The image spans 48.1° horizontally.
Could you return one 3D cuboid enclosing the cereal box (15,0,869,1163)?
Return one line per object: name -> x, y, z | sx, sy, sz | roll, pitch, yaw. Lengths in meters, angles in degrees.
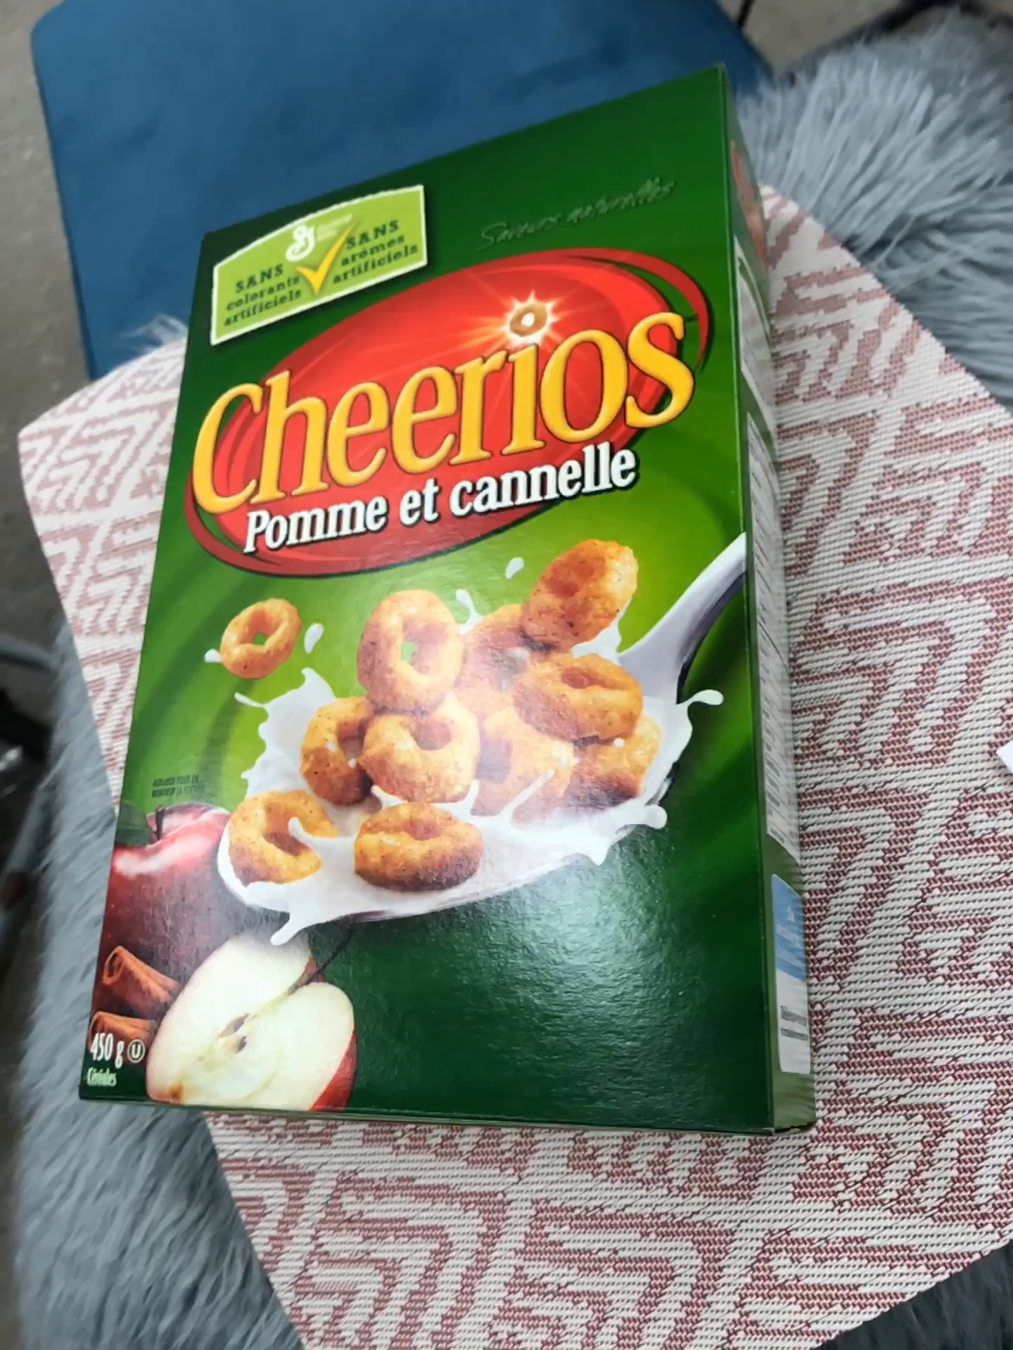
cereal box -> -0.017, -0.028, 0.342 | 0.210, 0.070, 0.310 | -6, 71, 19
